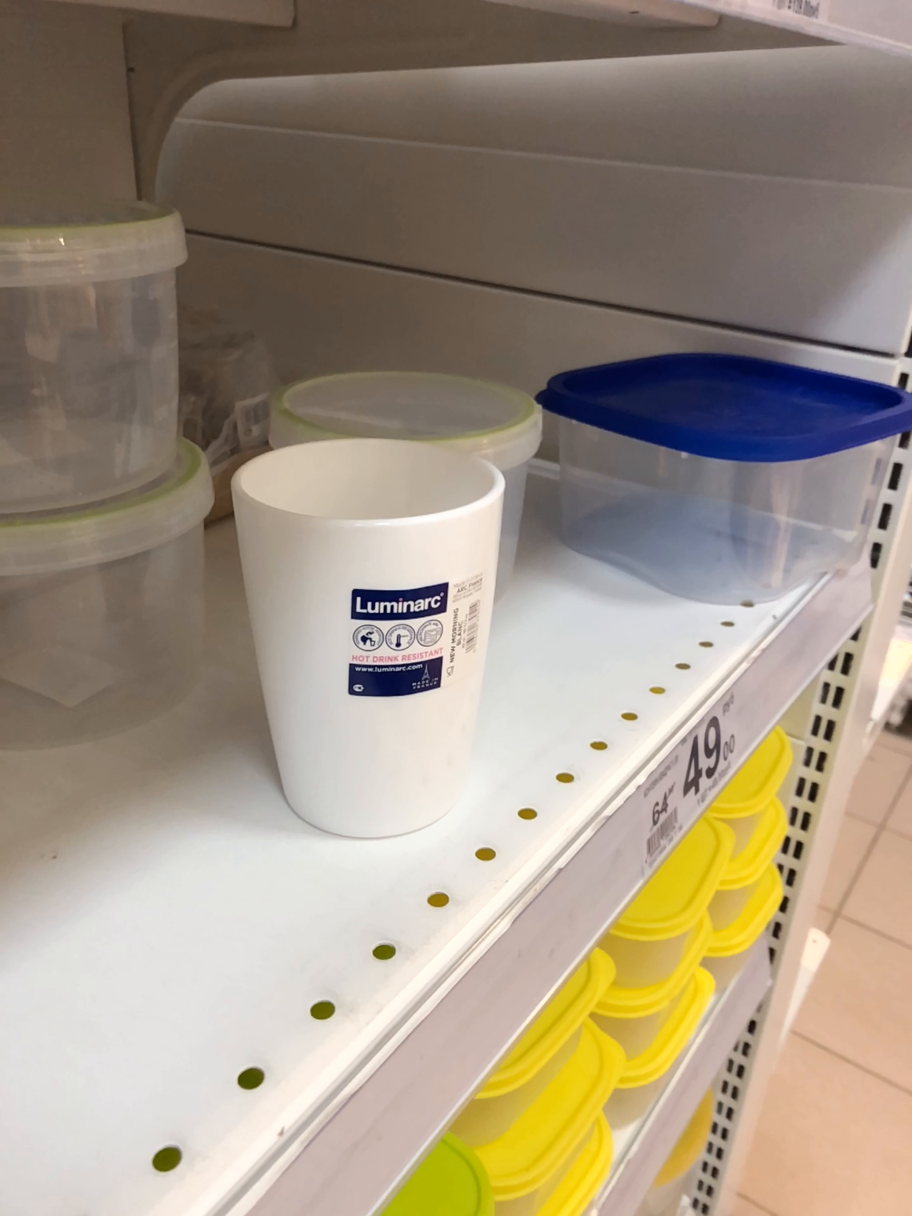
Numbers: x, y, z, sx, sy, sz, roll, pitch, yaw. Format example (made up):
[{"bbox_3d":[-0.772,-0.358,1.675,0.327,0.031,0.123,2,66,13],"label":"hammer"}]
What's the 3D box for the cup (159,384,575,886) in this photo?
[{"bbox_3d":[-0.022,-0.001,0.330,0.079,0.107,0.121,14,28,19],"label":"cup"}]
